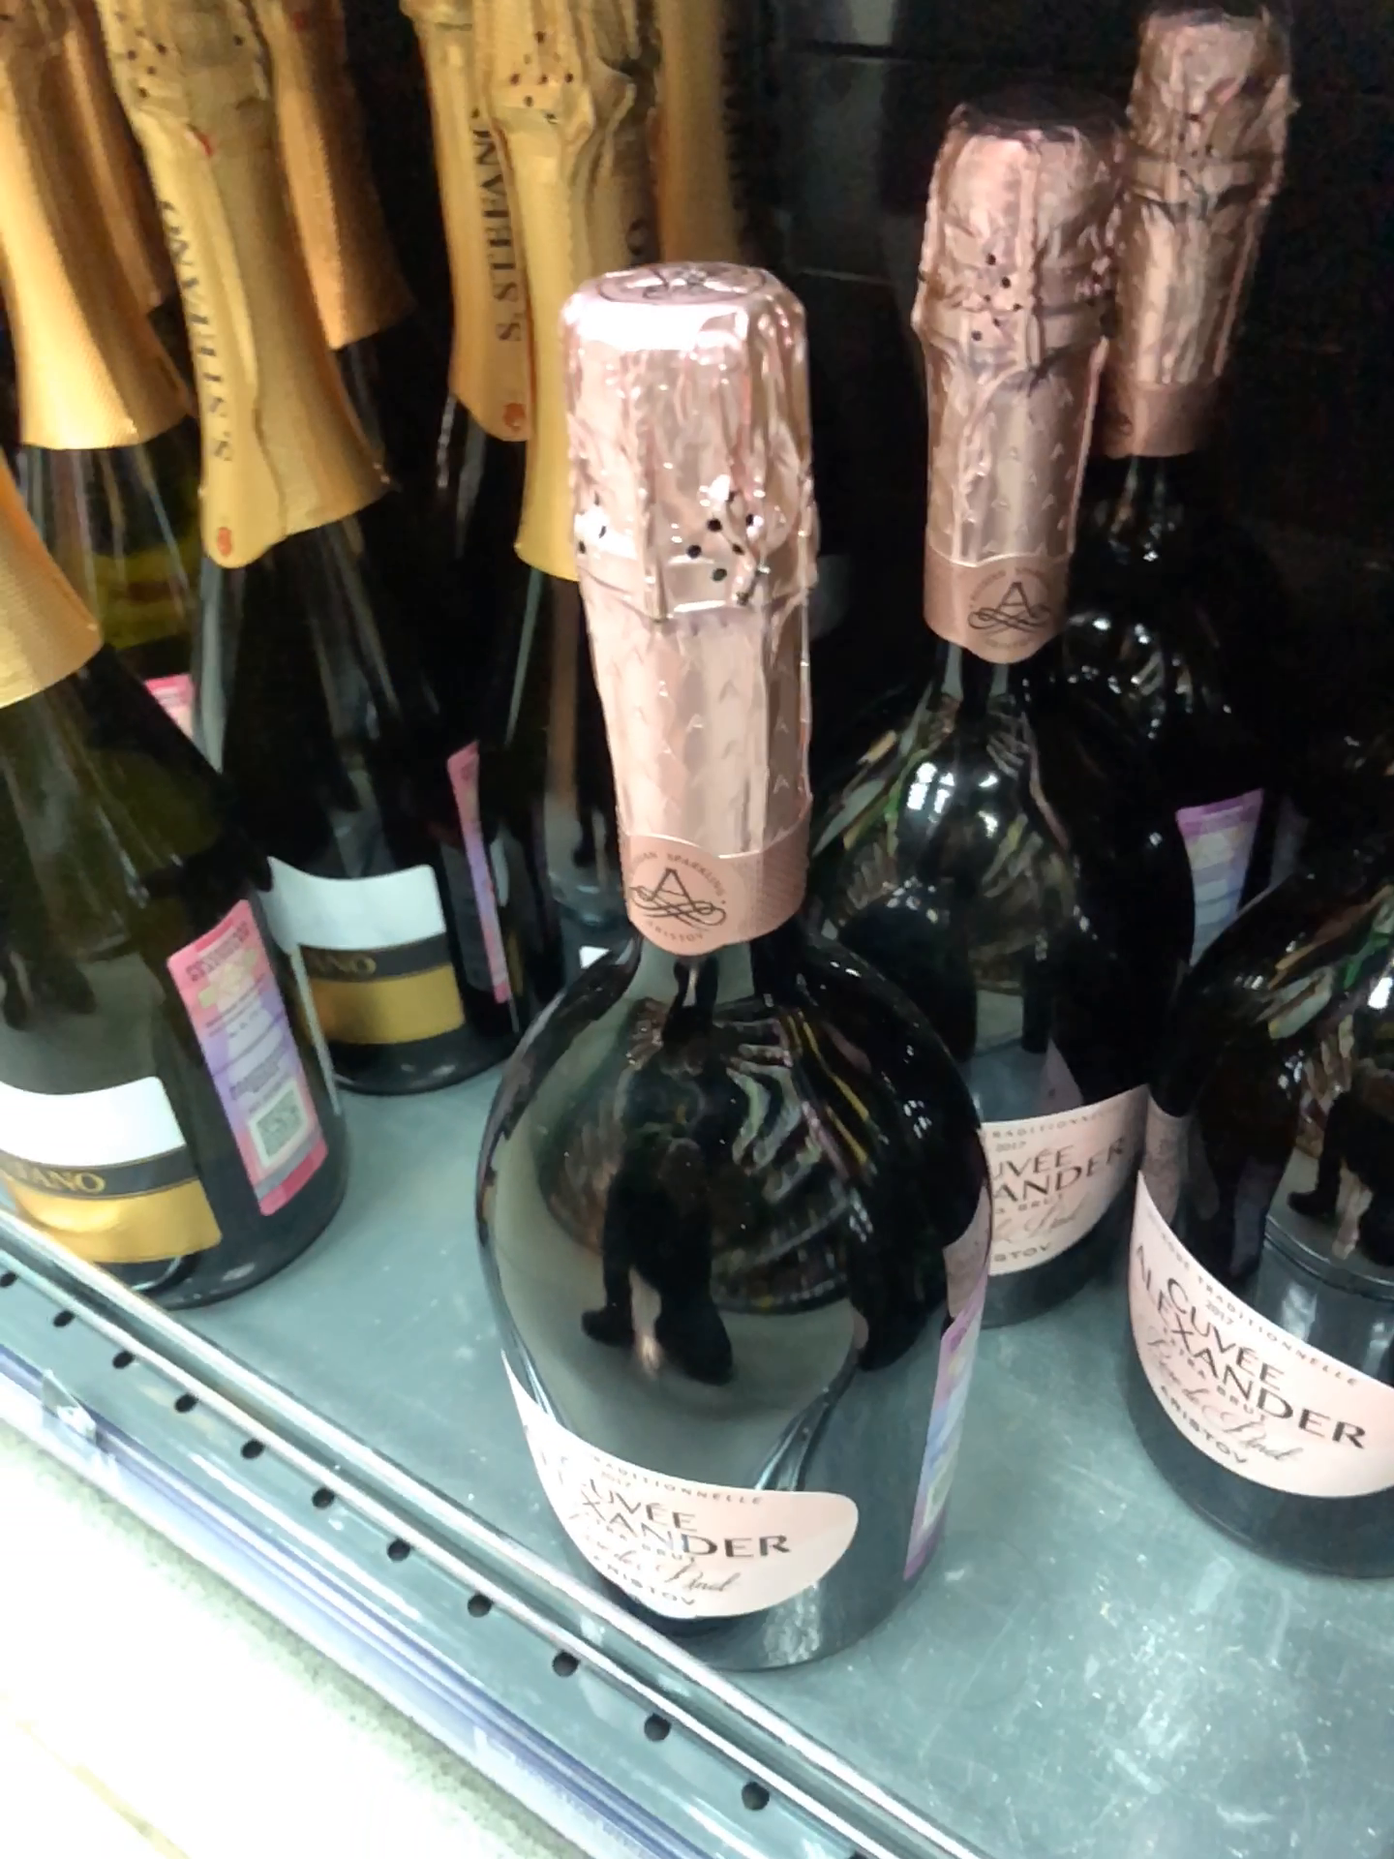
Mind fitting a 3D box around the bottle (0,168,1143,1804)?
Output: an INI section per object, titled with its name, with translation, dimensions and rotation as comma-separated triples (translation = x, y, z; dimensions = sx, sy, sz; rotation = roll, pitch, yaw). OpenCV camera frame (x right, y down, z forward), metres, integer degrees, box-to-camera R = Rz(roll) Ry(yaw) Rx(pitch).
[bottle]
translation = -0.004, 0.029, 0.278
dimensions = 0.110, 0.278, 0.090
rotation = 17, 44, 24
